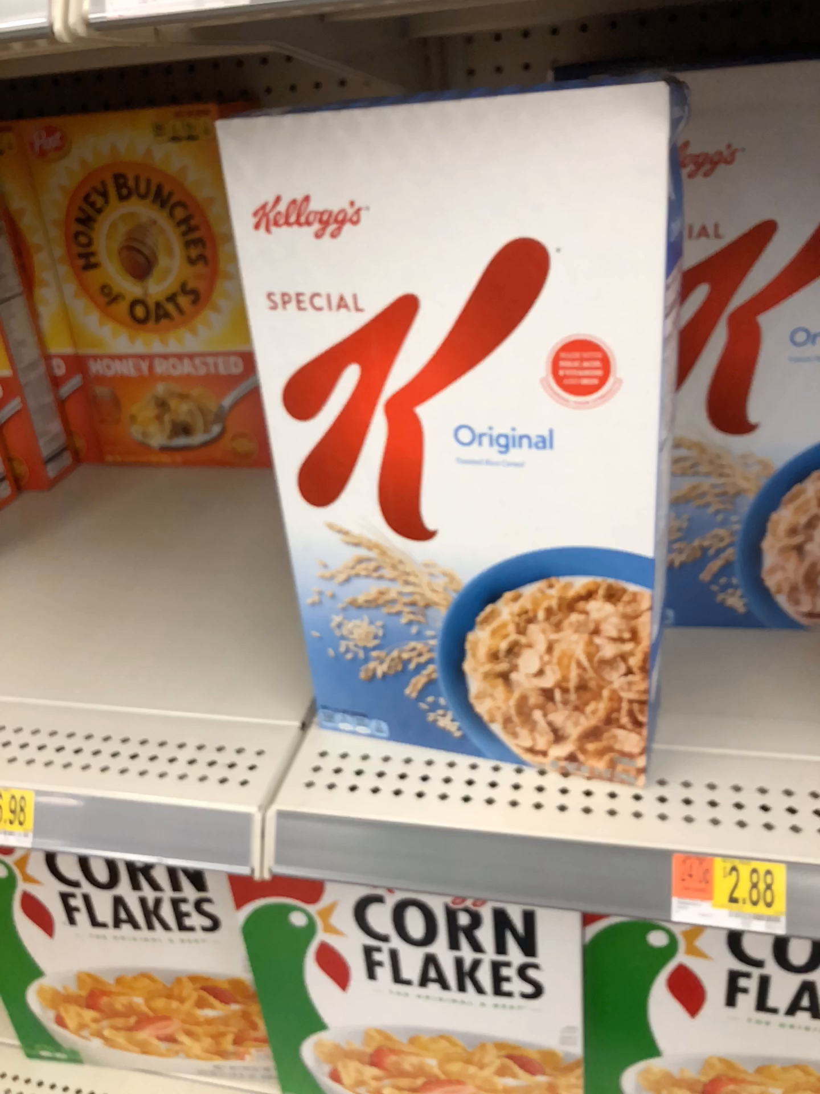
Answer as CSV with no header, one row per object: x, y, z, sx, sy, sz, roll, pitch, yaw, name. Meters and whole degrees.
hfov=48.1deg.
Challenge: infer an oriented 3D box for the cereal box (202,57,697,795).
0.030,-0.047,0.456,0.190,0.329,0.080,6,30,21,cereal box
